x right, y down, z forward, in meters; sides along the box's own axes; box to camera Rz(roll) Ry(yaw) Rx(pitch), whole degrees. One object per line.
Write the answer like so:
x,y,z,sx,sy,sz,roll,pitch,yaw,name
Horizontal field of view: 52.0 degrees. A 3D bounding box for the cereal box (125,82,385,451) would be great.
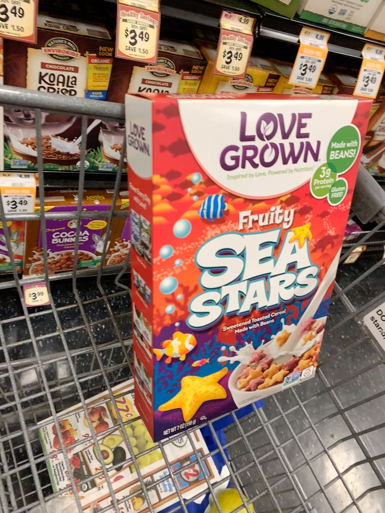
0.045,0.009,0.299,0.181,0.249,0.050,-11,30,-27,cereal box
